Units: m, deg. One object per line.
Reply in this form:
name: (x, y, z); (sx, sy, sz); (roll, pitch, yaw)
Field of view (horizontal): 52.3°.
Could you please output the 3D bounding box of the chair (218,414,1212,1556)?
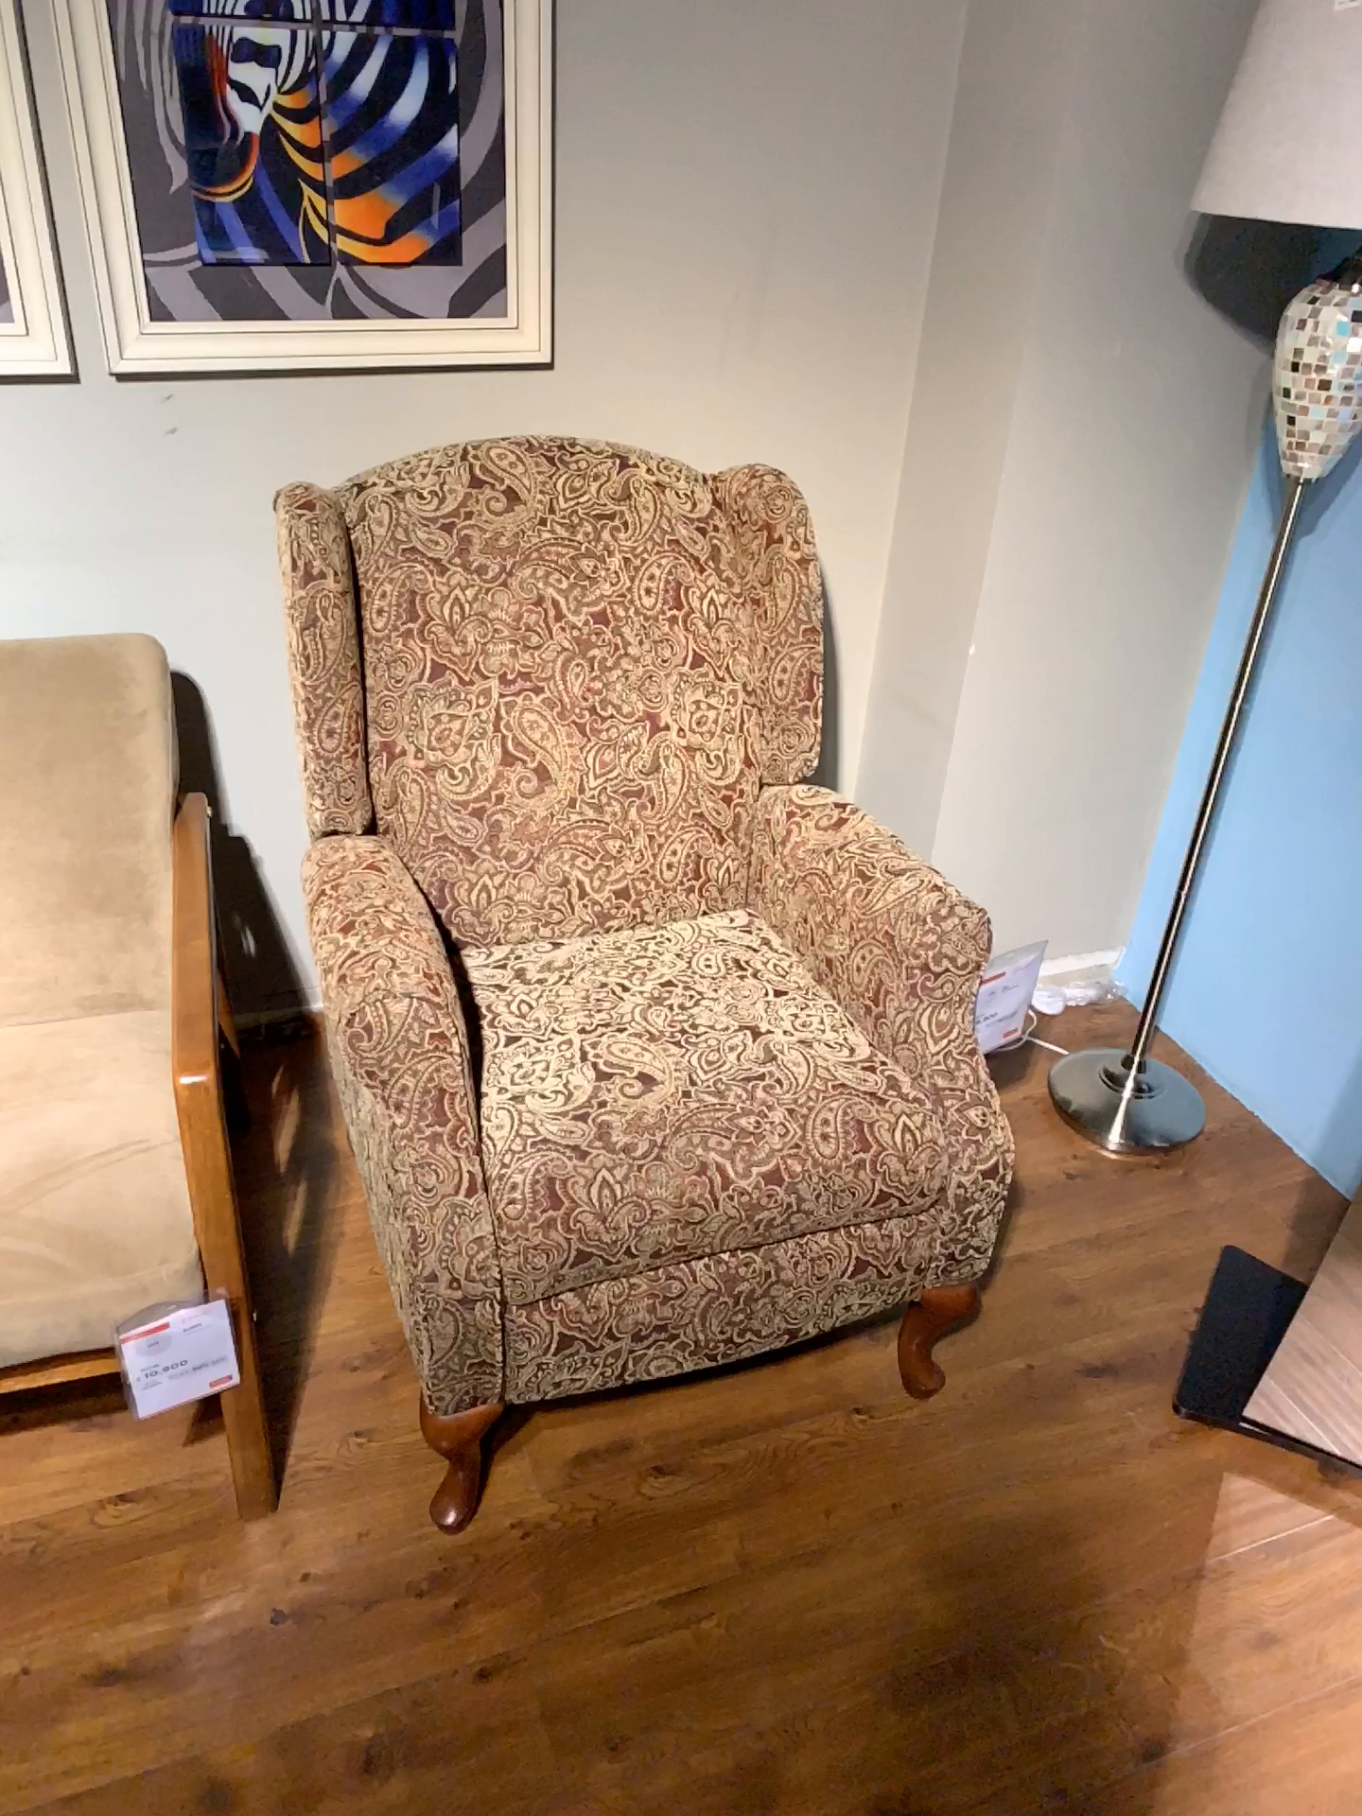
chair: (-0.060, 0.014, 1.603); (0.750, 0.956, 0.763); (-8, 33, -19)
